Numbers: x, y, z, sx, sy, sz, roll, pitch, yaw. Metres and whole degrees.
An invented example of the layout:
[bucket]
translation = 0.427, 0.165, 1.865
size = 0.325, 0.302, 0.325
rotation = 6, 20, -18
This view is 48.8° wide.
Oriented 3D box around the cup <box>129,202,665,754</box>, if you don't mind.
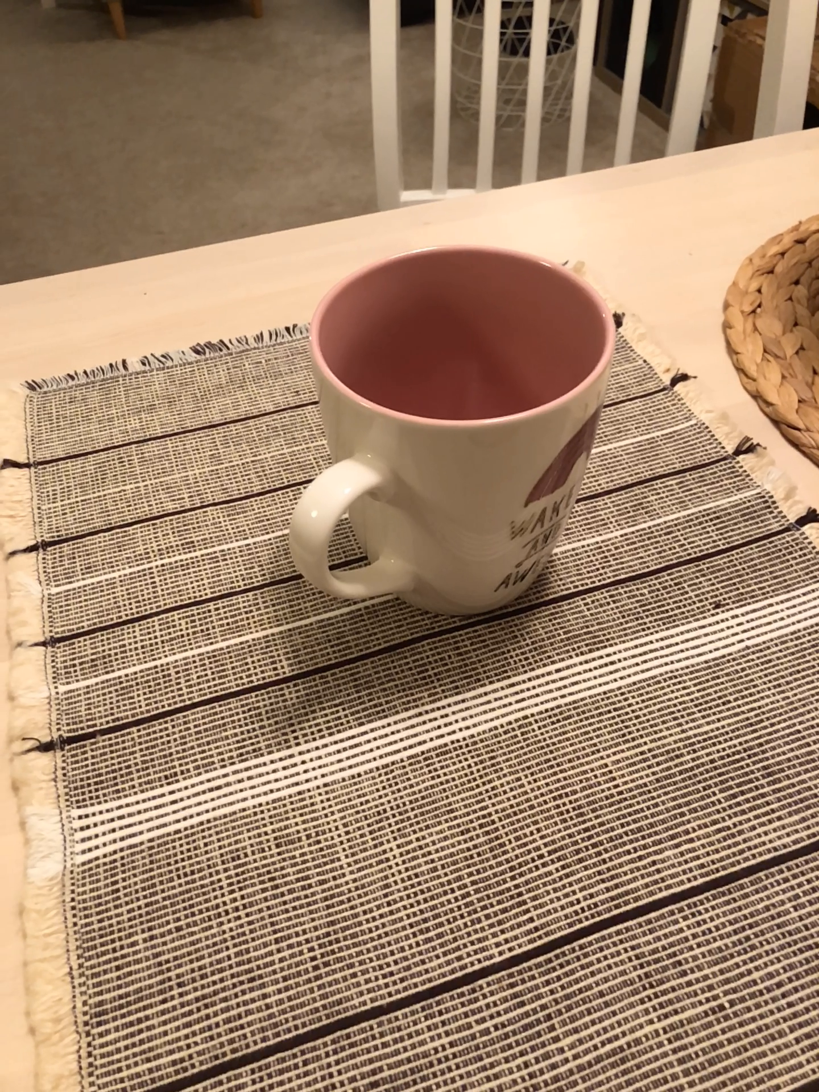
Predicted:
[cup]
translation = 0.002, -0.035, 0.368
size = 0.120, 0.119, 0.161
rotation = 28, 54, 25
